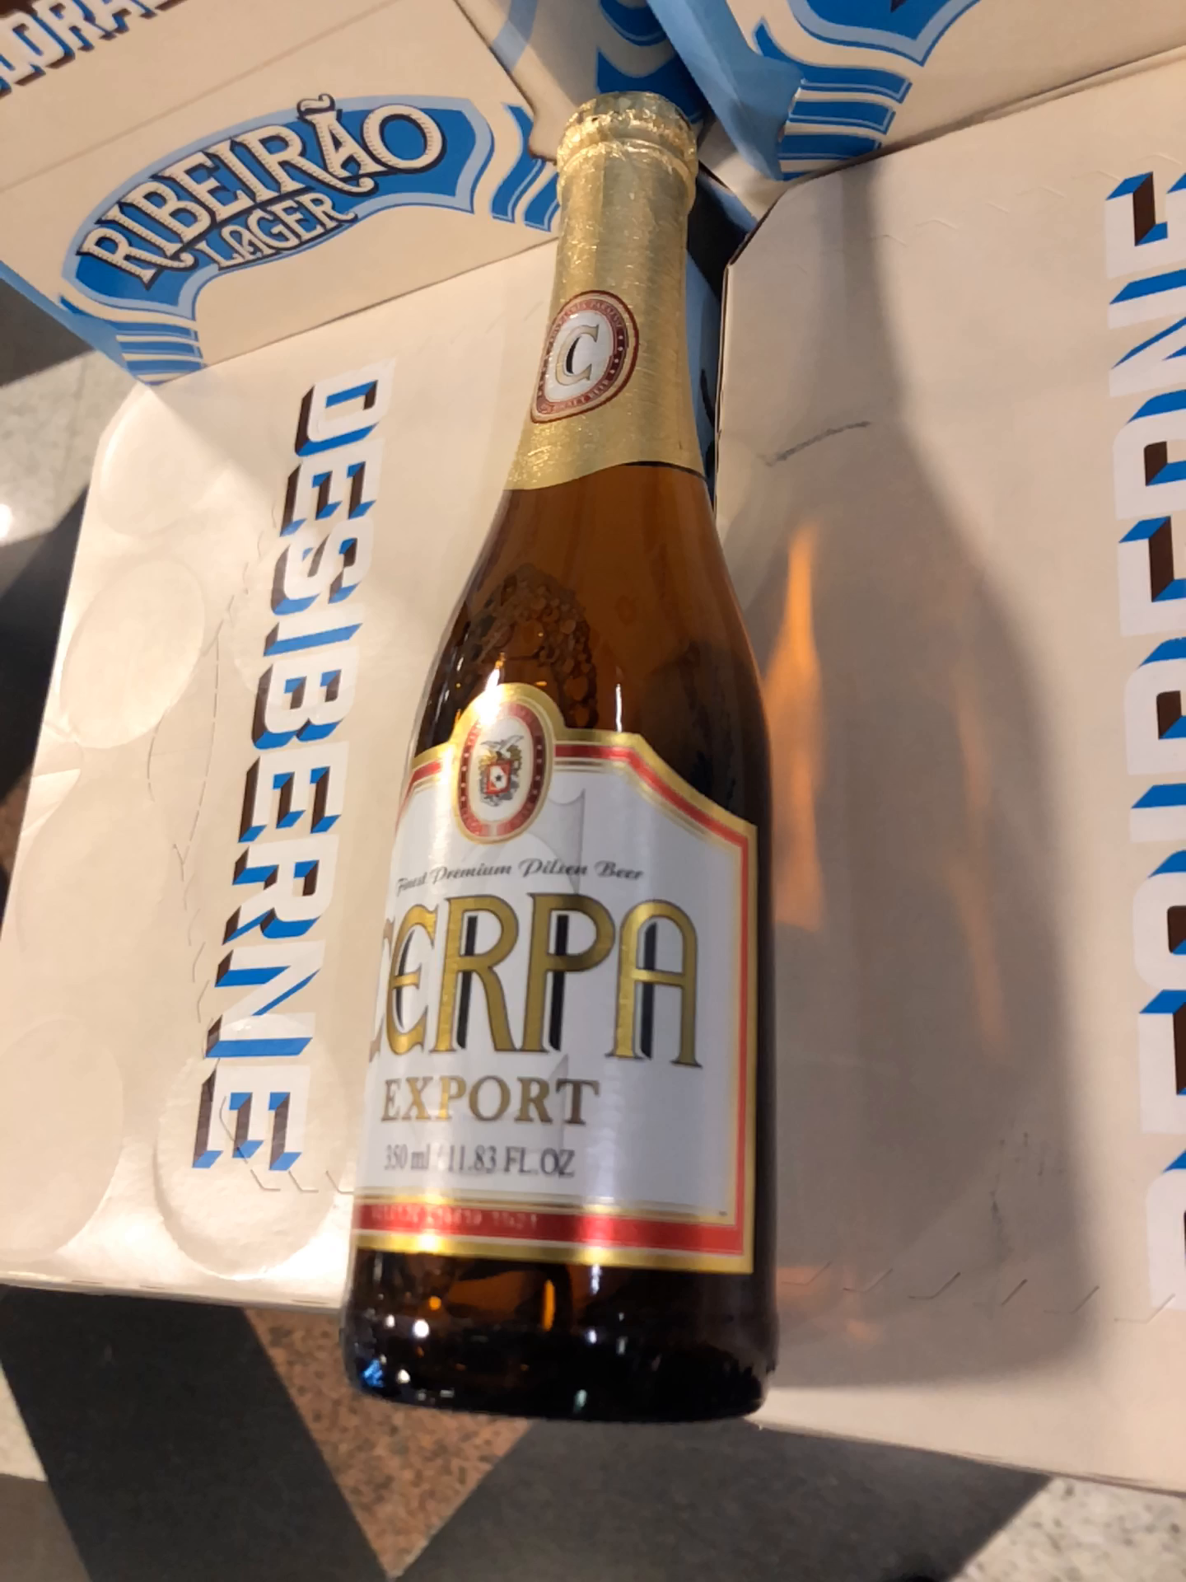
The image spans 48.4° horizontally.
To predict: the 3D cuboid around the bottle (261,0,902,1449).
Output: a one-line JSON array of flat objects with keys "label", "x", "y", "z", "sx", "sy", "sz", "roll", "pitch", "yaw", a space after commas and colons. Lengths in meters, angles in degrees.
[{"label": "bottle", "x": 0.002, "y": -0.028, "z": 0.225, "sx": 0.070, "sy": 0.060, "sz": 0.240, "roll": -10, "pitch": 69, "yaw": 28}]
